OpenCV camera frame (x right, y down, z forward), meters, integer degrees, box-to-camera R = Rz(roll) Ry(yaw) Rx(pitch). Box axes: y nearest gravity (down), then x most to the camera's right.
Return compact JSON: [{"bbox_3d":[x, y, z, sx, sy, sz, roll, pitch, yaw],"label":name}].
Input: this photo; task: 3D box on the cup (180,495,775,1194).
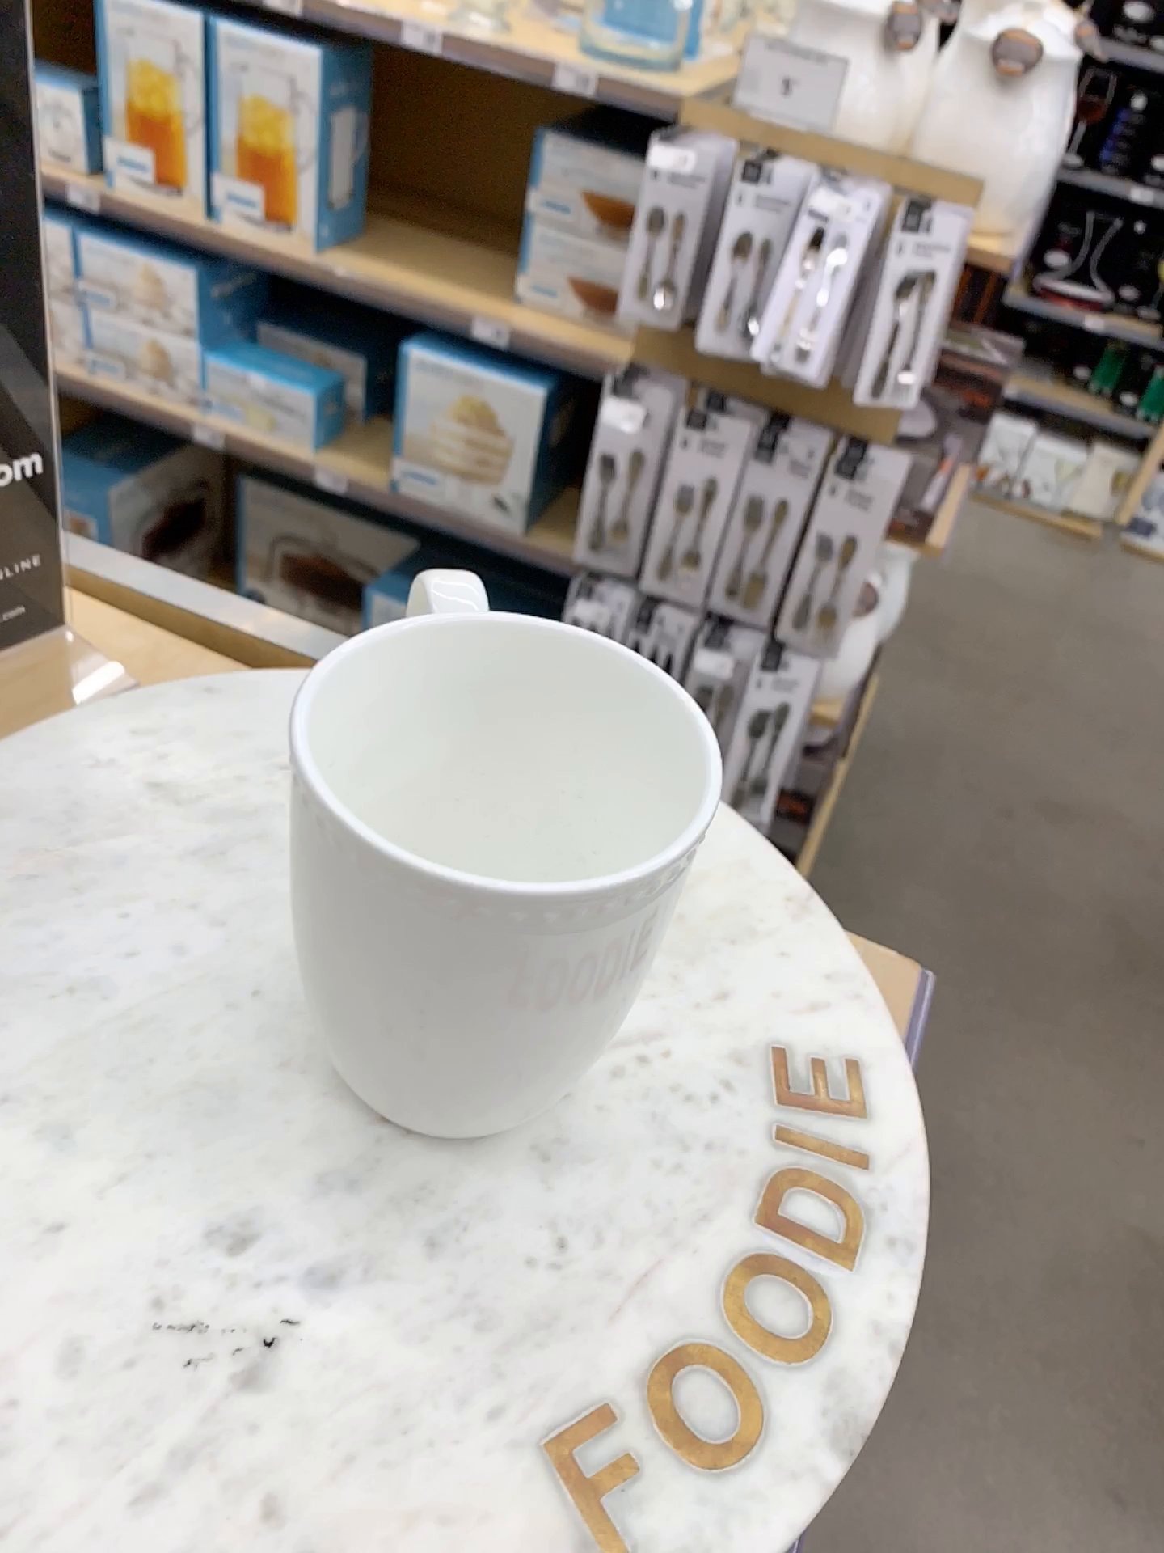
[{"bbox_3d":[-0.036,0.007,0.285,0.096,0.093,0.126,-6,43,-21],"label":"cup"}]
